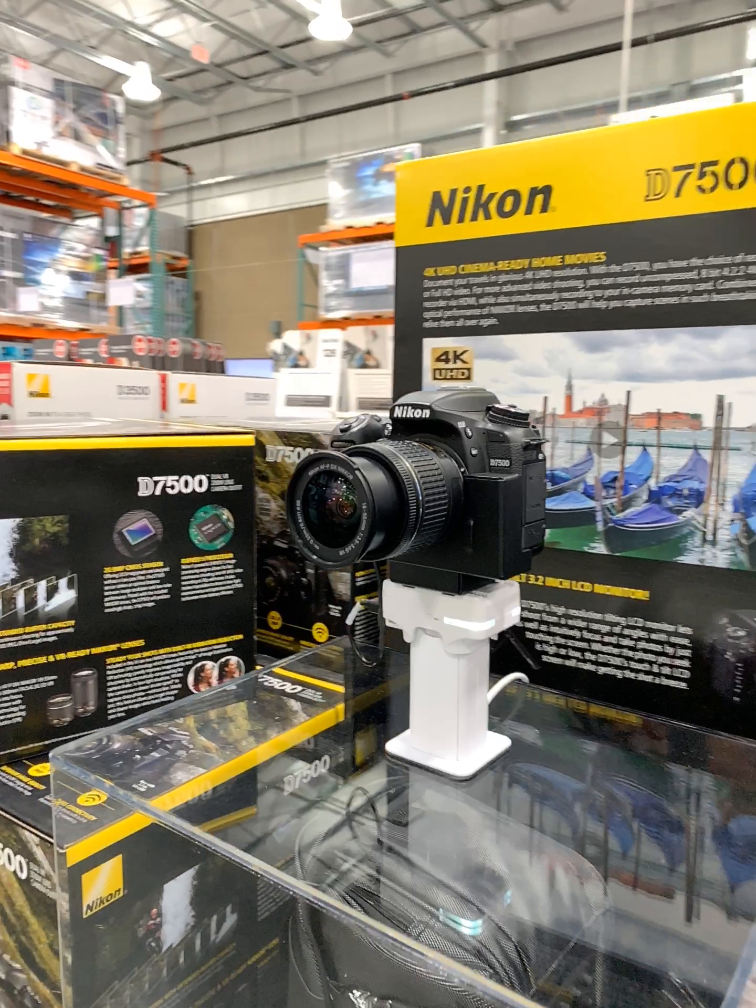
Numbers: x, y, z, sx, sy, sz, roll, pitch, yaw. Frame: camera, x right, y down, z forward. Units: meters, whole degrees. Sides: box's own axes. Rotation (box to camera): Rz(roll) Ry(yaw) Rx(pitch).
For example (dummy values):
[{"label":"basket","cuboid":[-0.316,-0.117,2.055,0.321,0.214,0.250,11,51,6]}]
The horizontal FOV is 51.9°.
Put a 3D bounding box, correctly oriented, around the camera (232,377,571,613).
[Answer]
[{"label":"camera","cuboid":[0.011,-0.016,0.452,0.160,0.110,0.110,7,9,36]}]
